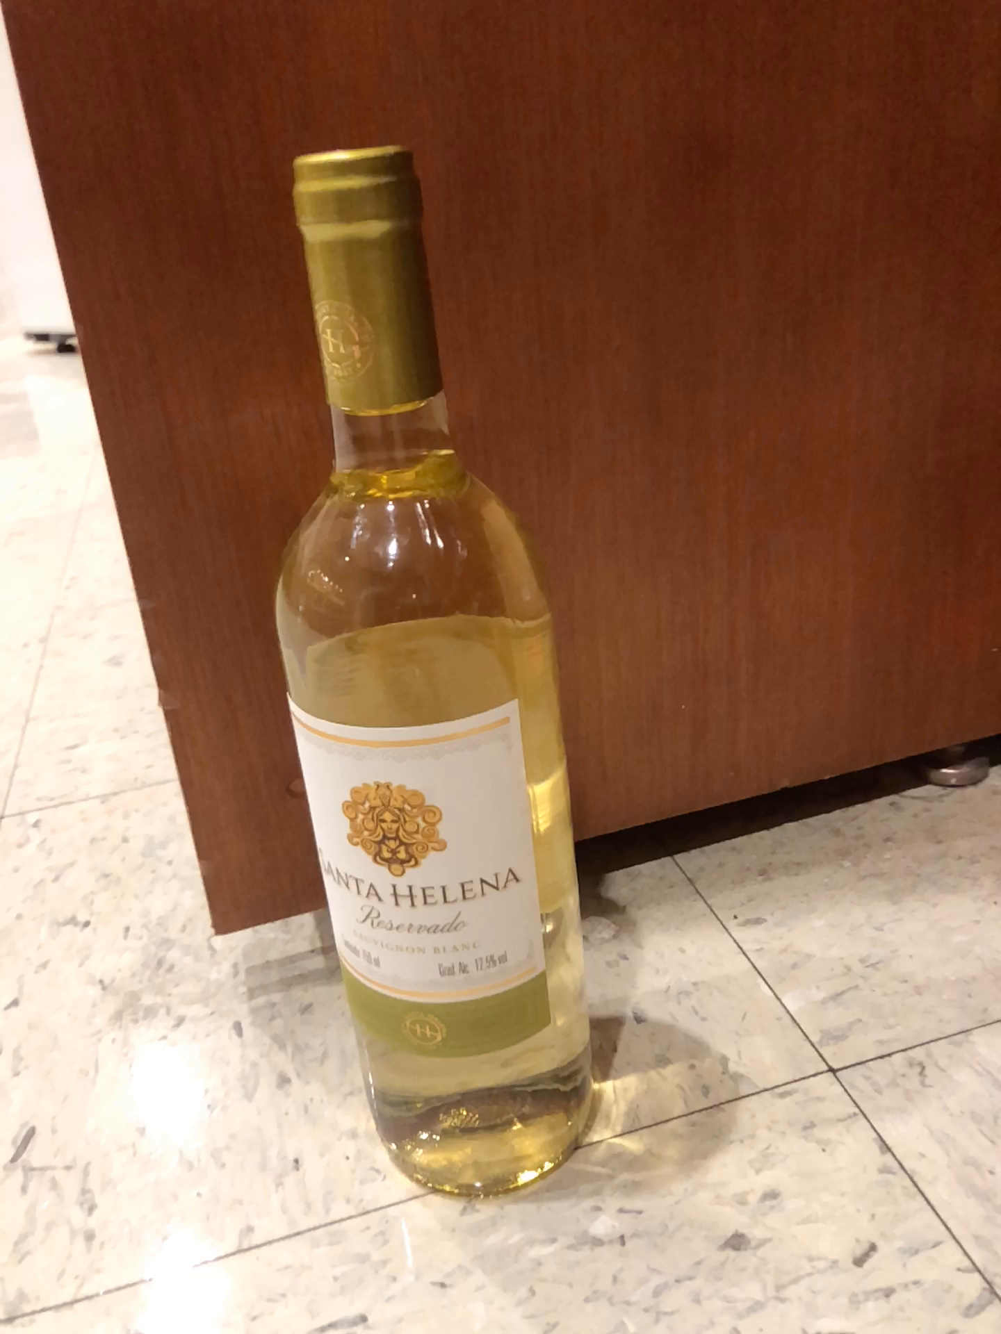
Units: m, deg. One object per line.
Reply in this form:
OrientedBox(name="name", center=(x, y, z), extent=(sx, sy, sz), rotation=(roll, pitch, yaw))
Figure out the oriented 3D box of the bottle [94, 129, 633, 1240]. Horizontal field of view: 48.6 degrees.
OrientedBox(name="bottle", center=(-0.019, 0.016, 0.294), extent=(0.080, 0.278, 0.070), rotation=(3, 26, 19))
